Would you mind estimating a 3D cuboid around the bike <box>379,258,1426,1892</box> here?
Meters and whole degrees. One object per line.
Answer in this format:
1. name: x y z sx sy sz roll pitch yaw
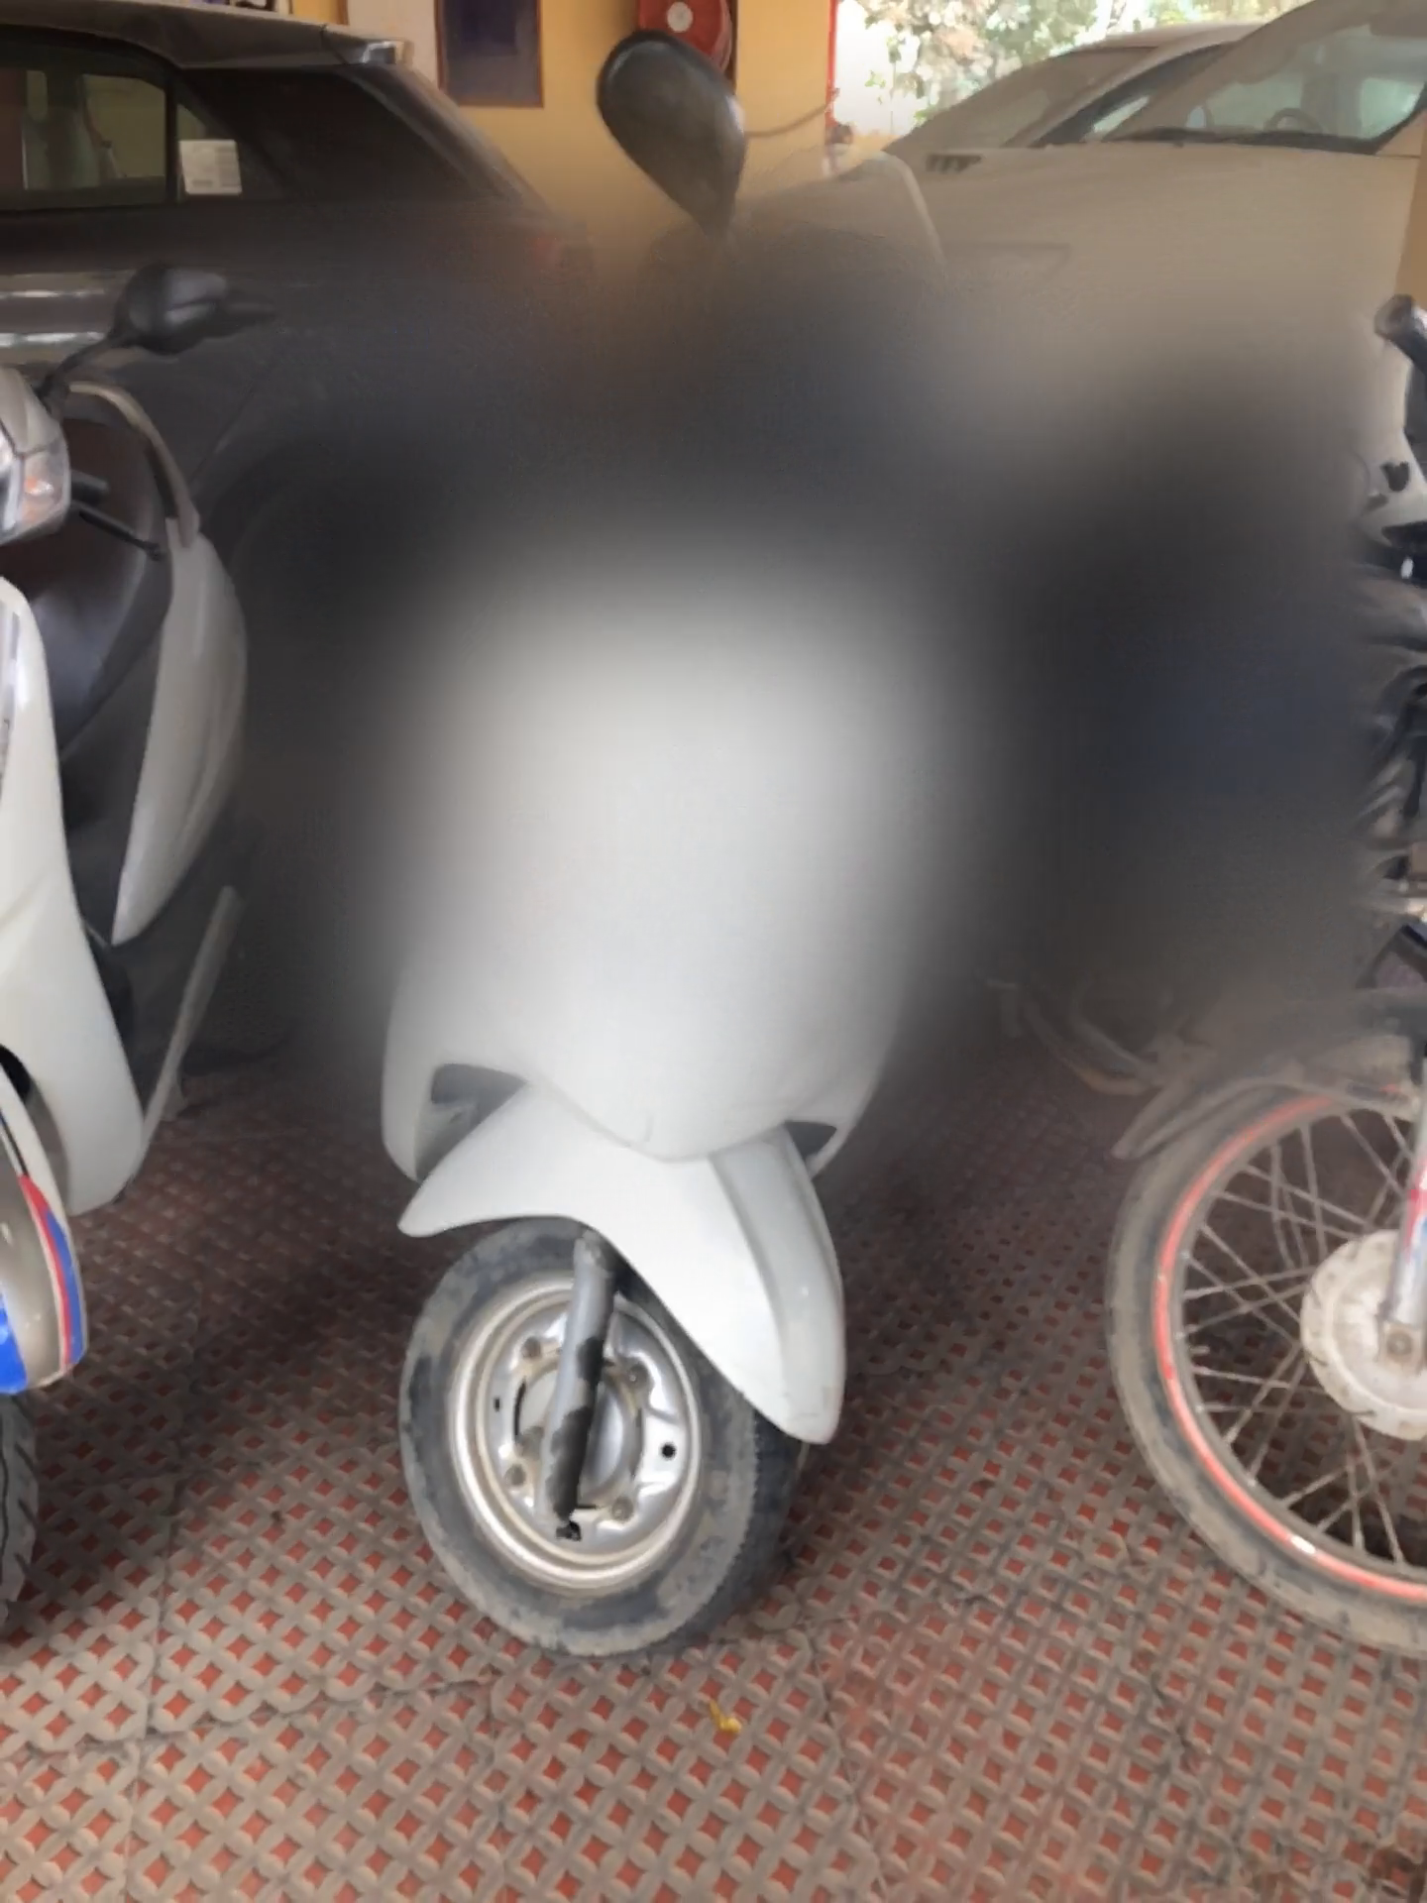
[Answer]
1. bike: 0.137 -0.086 1.866 0.832 0.940 1.516 -7 38 -15
